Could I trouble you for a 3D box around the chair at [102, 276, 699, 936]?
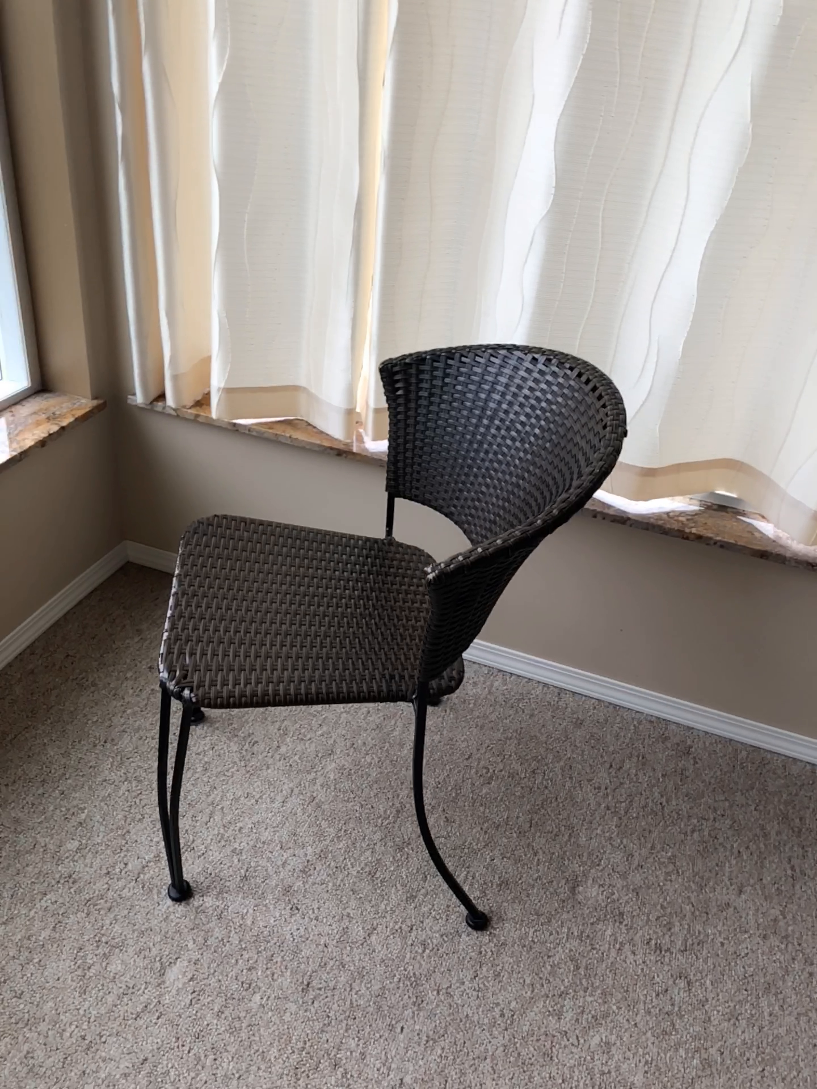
[{"bbox_3d":[-0.059,0.096,1.354,0.610,0.787,0.562,3,33,-7],"label":"chair"}]
